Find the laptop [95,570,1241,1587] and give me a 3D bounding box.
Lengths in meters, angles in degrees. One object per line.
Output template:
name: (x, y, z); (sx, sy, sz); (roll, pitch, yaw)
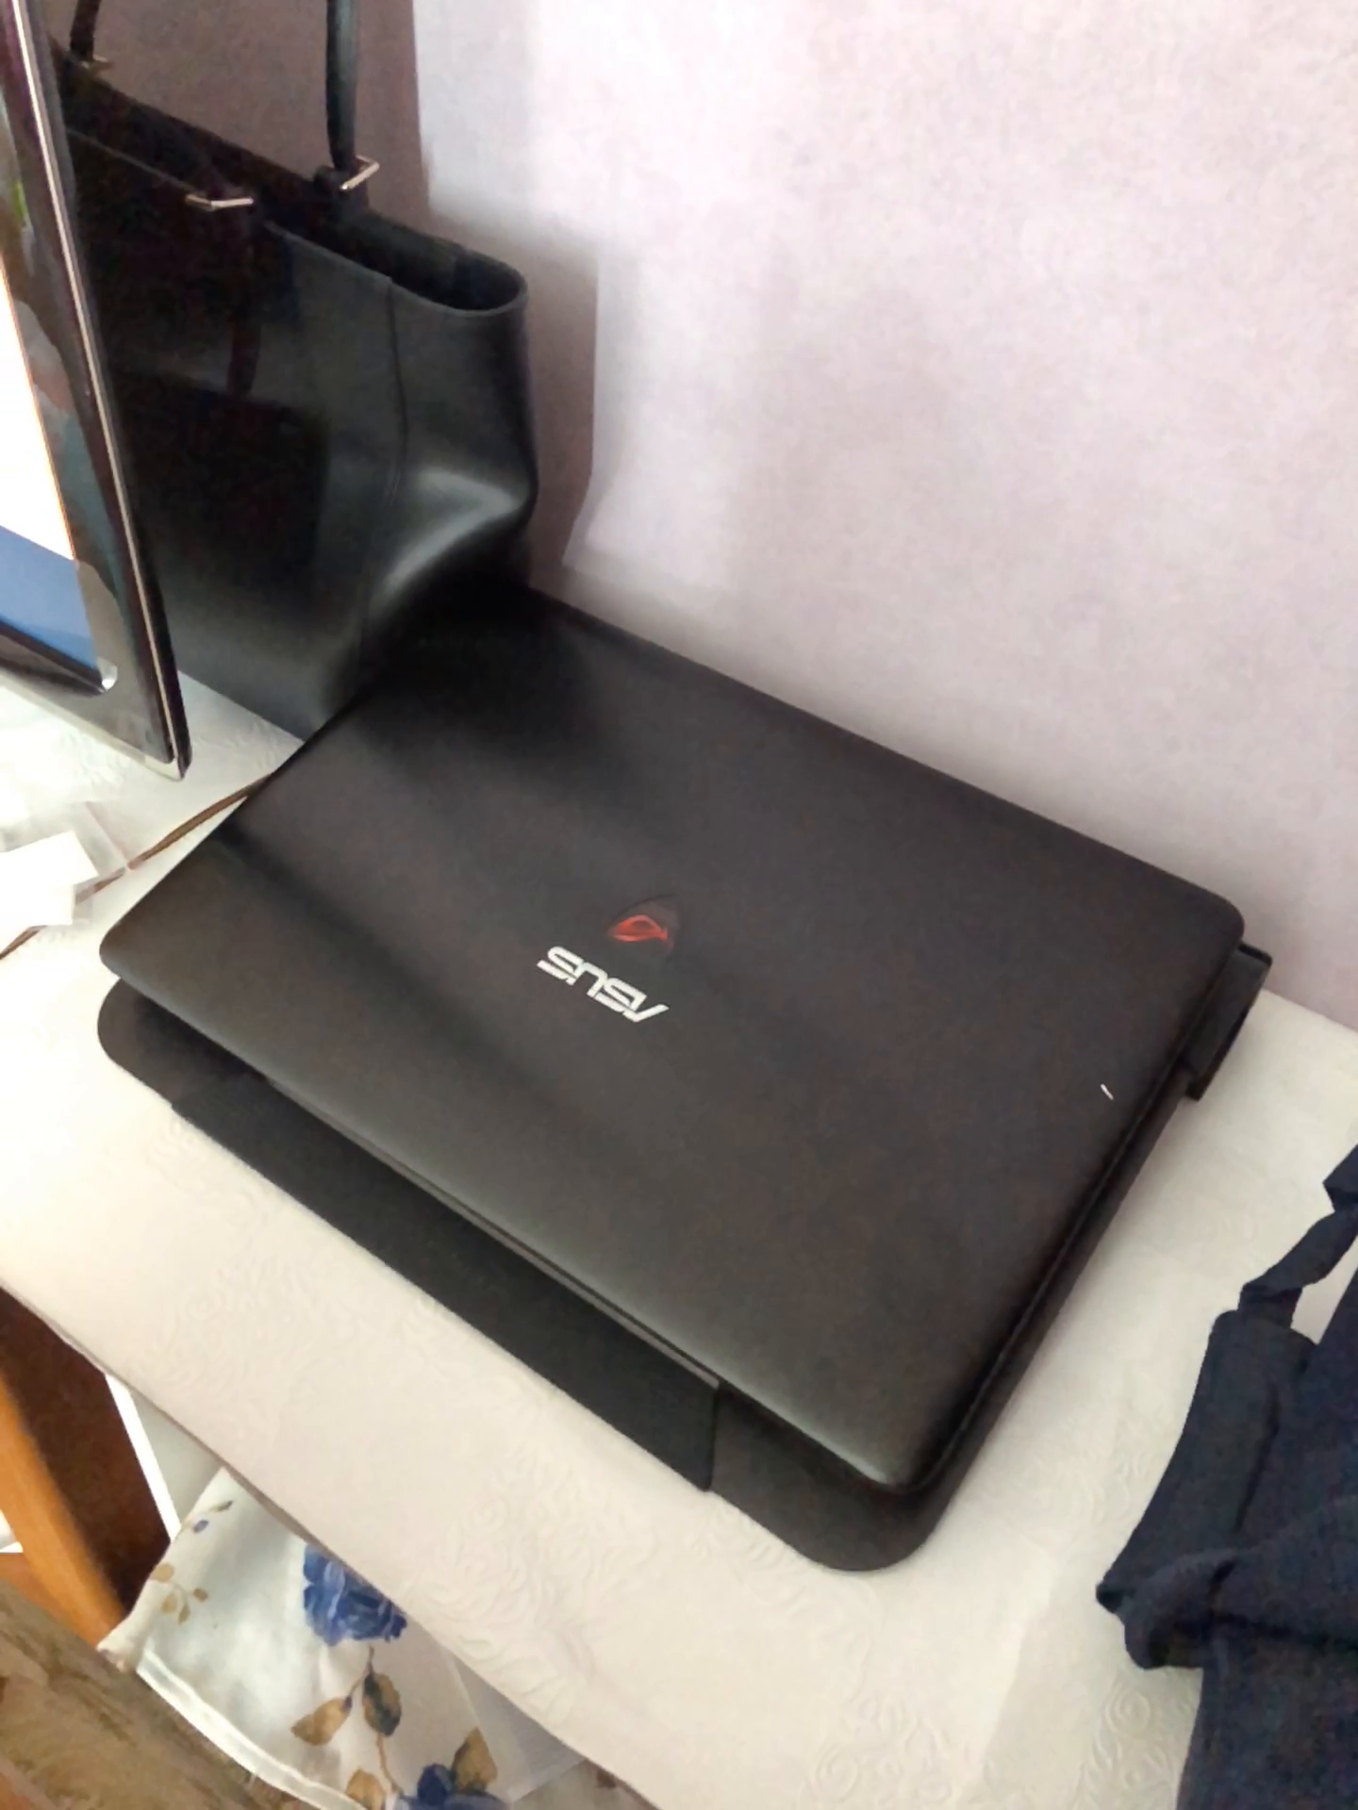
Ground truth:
laptop: (-0.013, 0.031, 0.625); (0.395, 0.060, 0.267); (27, 59, 24)
